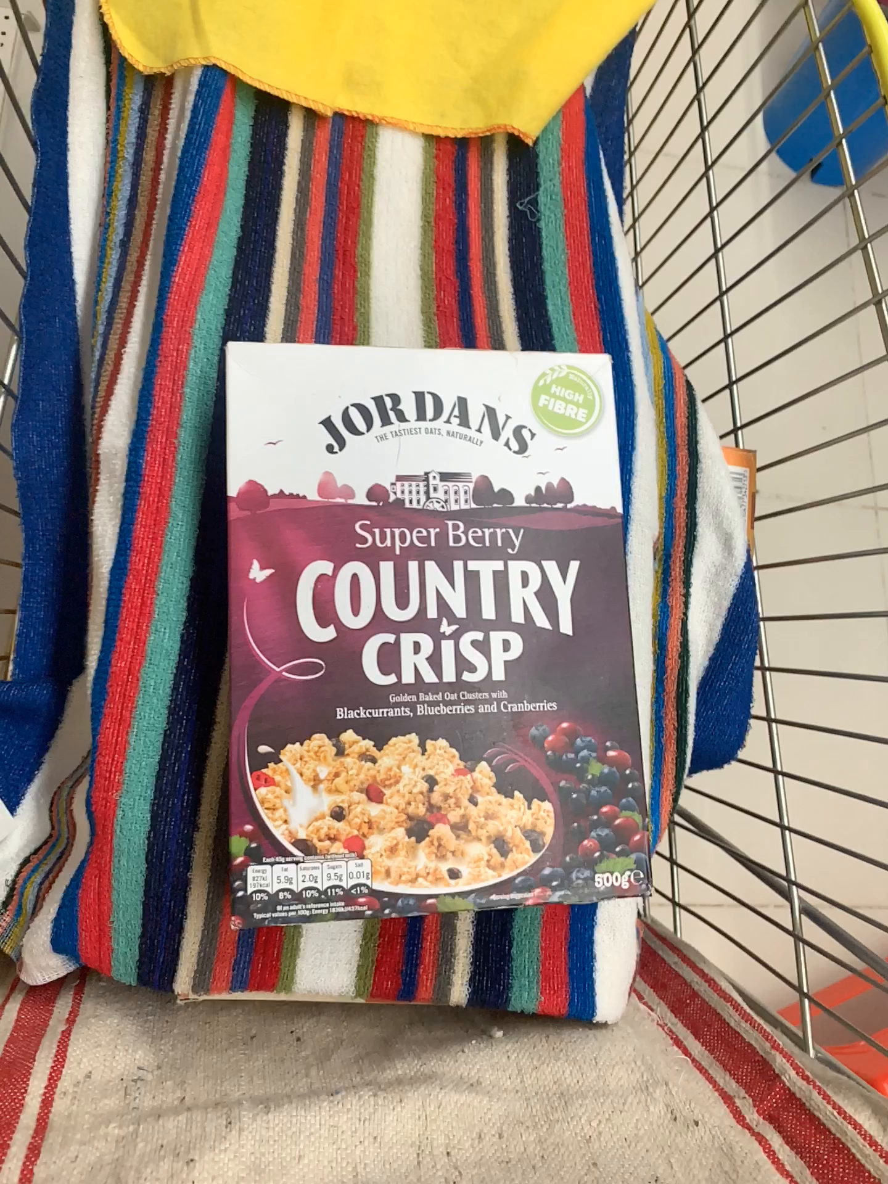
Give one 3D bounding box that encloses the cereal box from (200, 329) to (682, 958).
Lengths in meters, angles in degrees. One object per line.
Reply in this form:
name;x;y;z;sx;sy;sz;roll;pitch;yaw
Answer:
cereal box;-0.008;0.016;0.388;0.180;0.060;0.240;-1;79;-9
